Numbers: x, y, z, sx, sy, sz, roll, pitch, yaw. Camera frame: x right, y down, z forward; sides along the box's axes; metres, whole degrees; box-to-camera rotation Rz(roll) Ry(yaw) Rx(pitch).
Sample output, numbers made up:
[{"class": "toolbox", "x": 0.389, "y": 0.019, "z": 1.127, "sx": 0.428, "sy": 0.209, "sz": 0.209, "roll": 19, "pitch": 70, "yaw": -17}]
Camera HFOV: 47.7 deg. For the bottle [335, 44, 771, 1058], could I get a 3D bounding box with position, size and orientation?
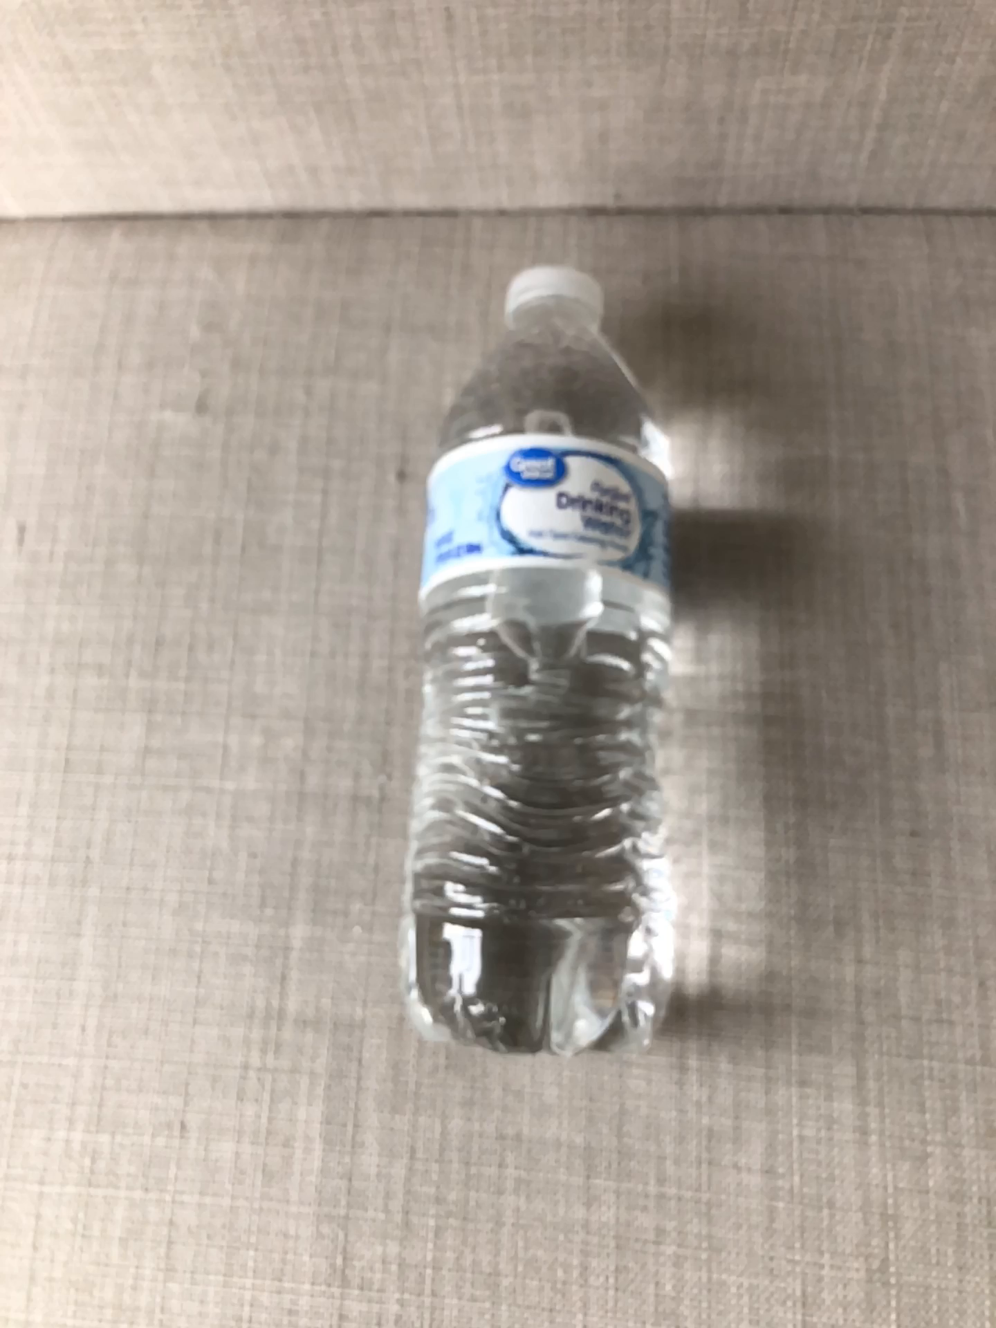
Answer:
[{"class": "bottle", "x": 0.012, "y": -0.024, "z": 0.291, "sx": 0.070, "sy": 0.080, "sz": 0.231, "roll": 9, "pitch": 74, "yaw": -27}]
